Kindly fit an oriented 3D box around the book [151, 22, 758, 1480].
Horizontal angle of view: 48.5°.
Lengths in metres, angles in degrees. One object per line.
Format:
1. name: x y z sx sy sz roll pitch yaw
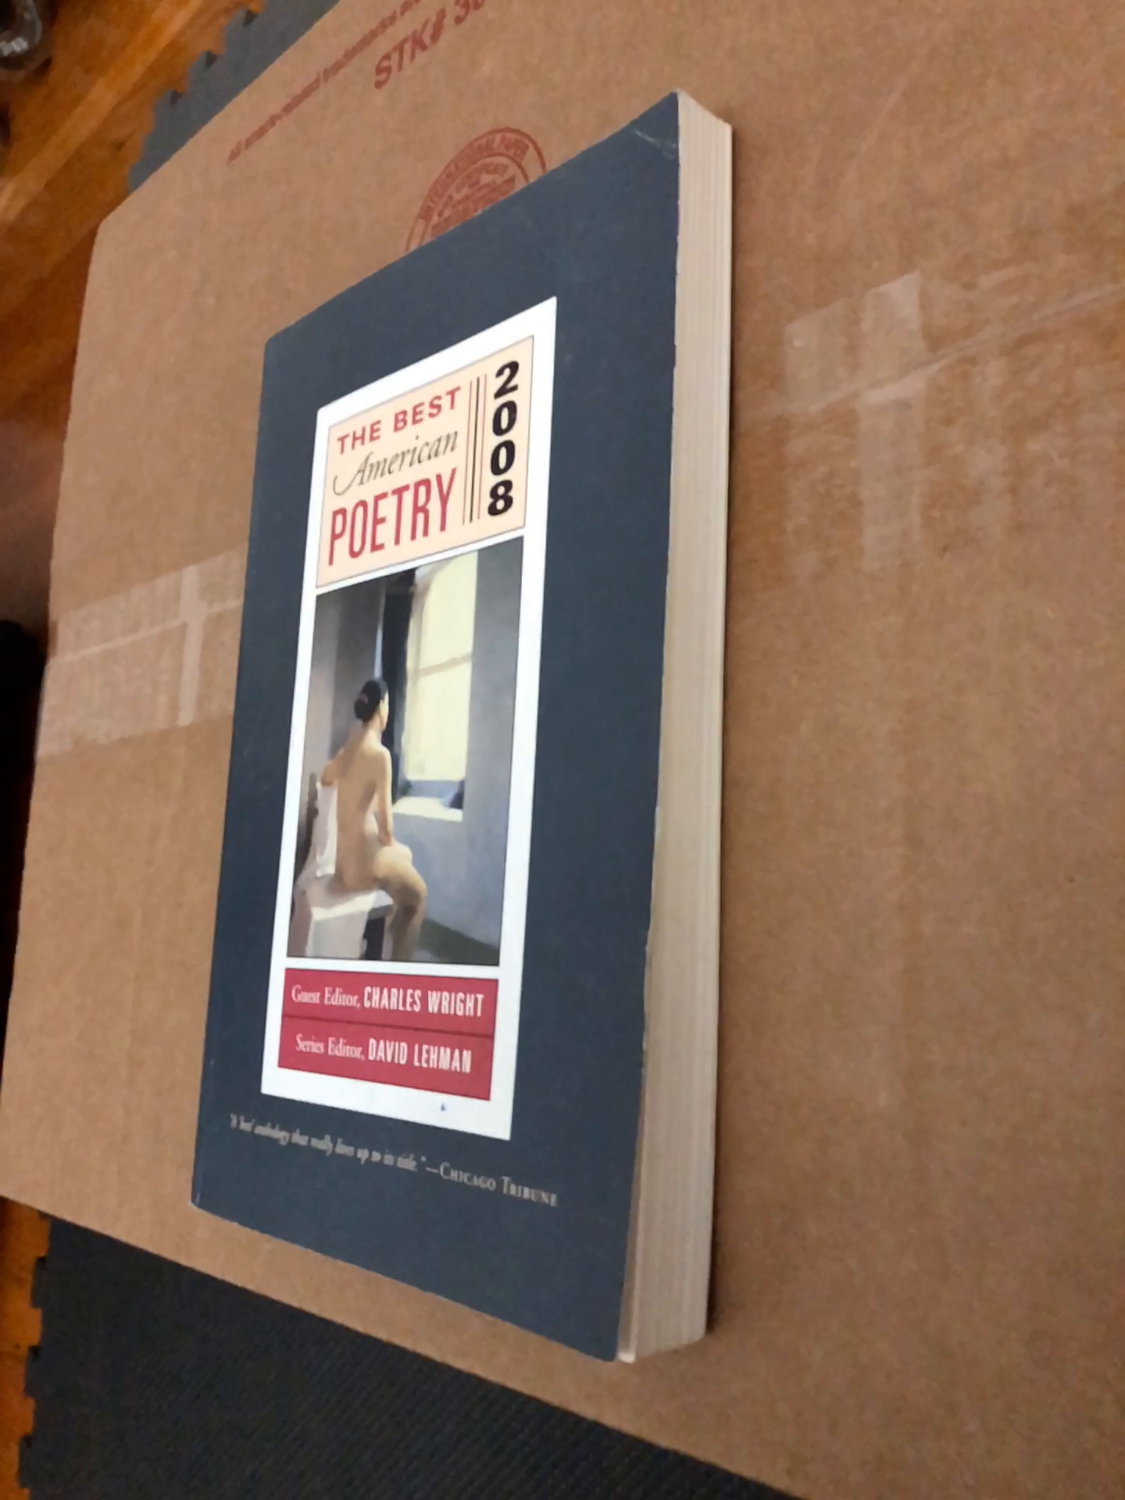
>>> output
1. book: -0.028 -0.003 0.253 0.151 0.020 0.230 -9 74 45
